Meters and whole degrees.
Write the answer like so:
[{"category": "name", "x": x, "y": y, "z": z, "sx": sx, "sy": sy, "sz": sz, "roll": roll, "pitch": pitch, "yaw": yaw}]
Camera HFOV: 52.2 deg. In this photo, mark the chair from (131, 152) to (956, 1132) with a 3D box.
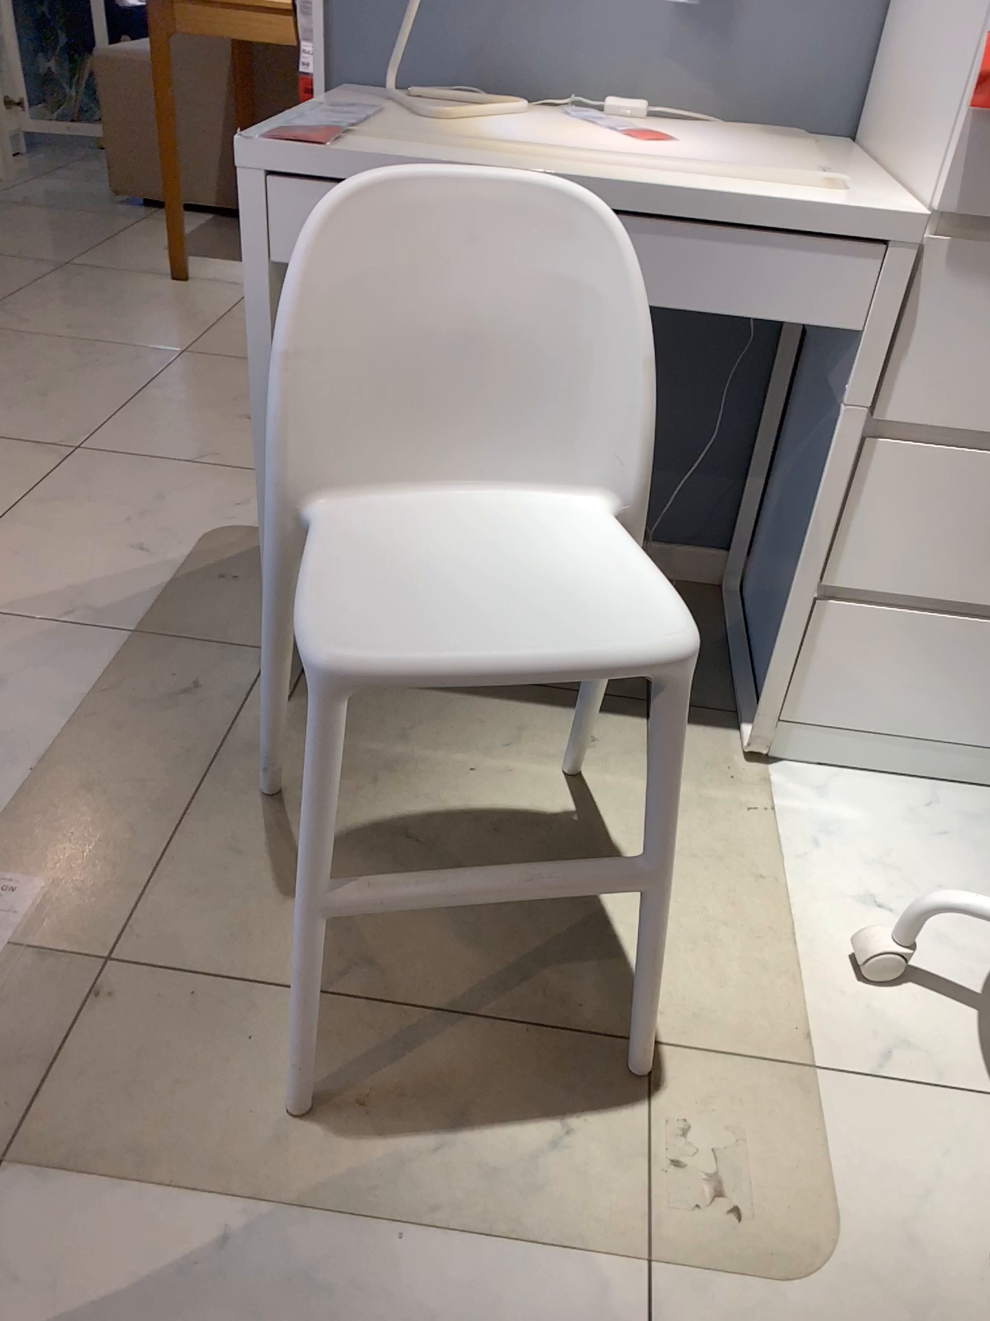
[{"category": "chair", "x": -0.024, "y": -0.015, "z": 0.945, "sx": 0.450, "sy": 0.727, "sz": 0.492, "roll": -1, "pitch": 36, "yaw": -10}]
